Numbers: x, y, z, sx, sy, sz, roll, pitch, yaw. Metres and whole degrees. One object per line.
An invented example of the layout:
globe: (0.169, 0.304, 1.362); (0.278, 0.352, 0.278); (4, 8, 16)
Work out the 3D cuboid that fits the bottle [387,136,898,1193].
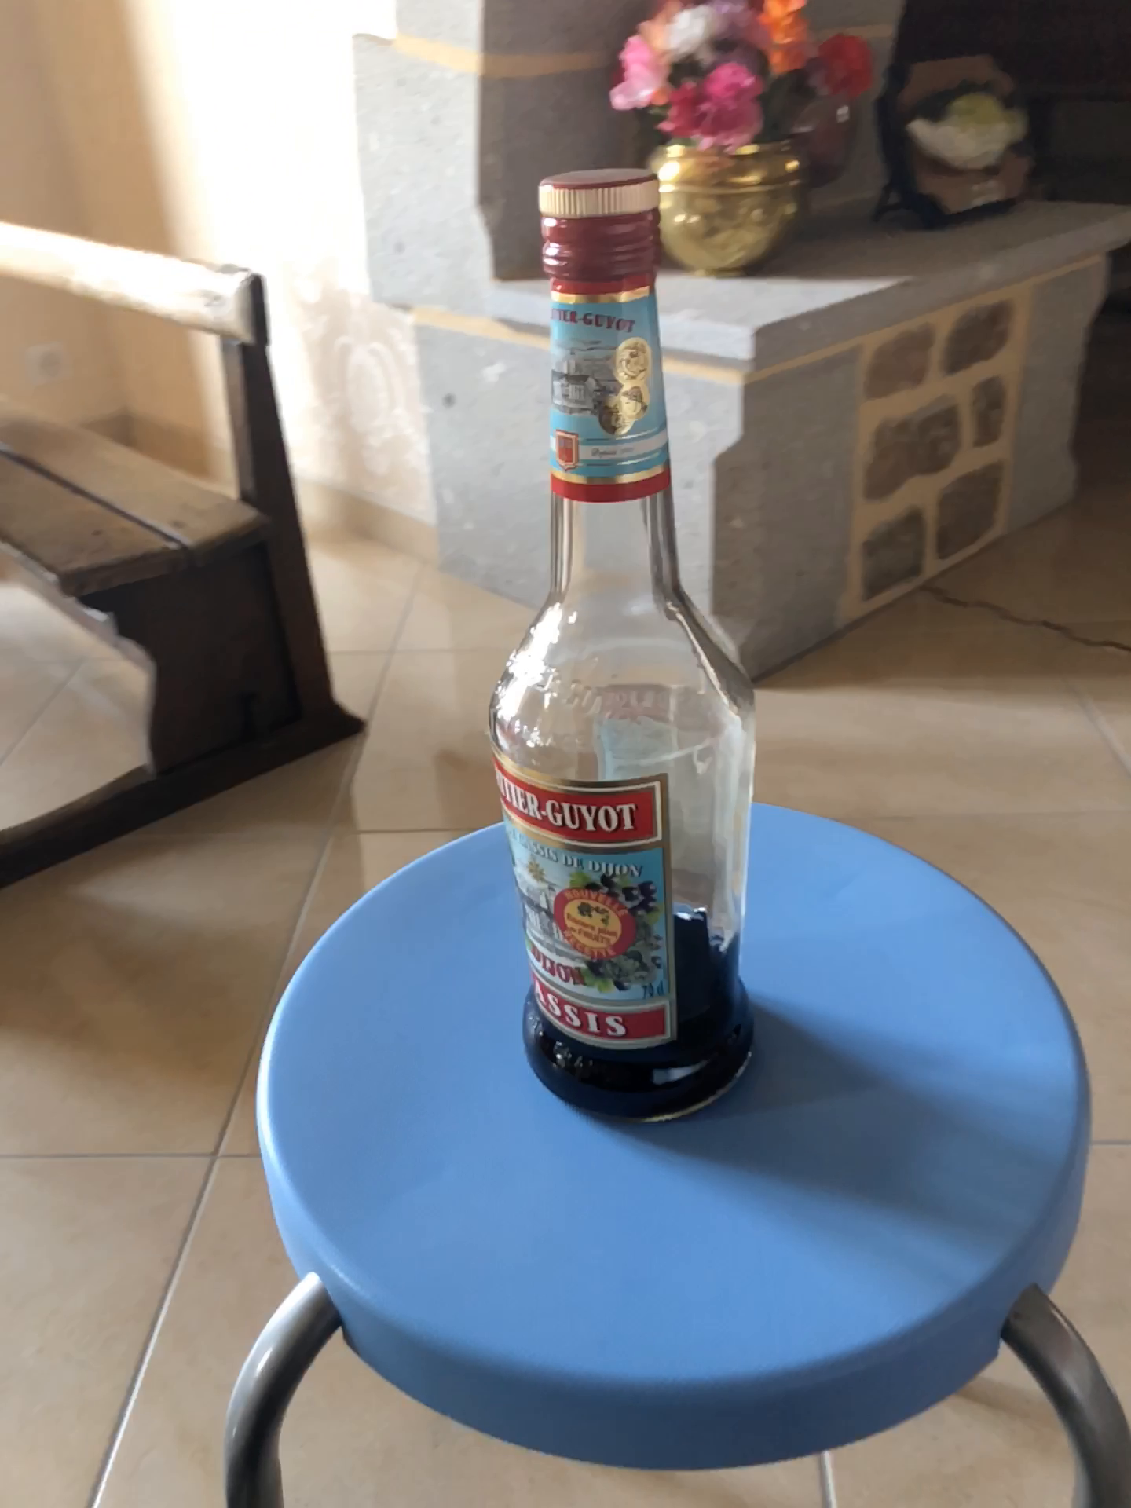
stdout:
bottle: (0.026, -0.019, 0.383); (0.090, 0.298, 0.090); (-3, 30, 2)
